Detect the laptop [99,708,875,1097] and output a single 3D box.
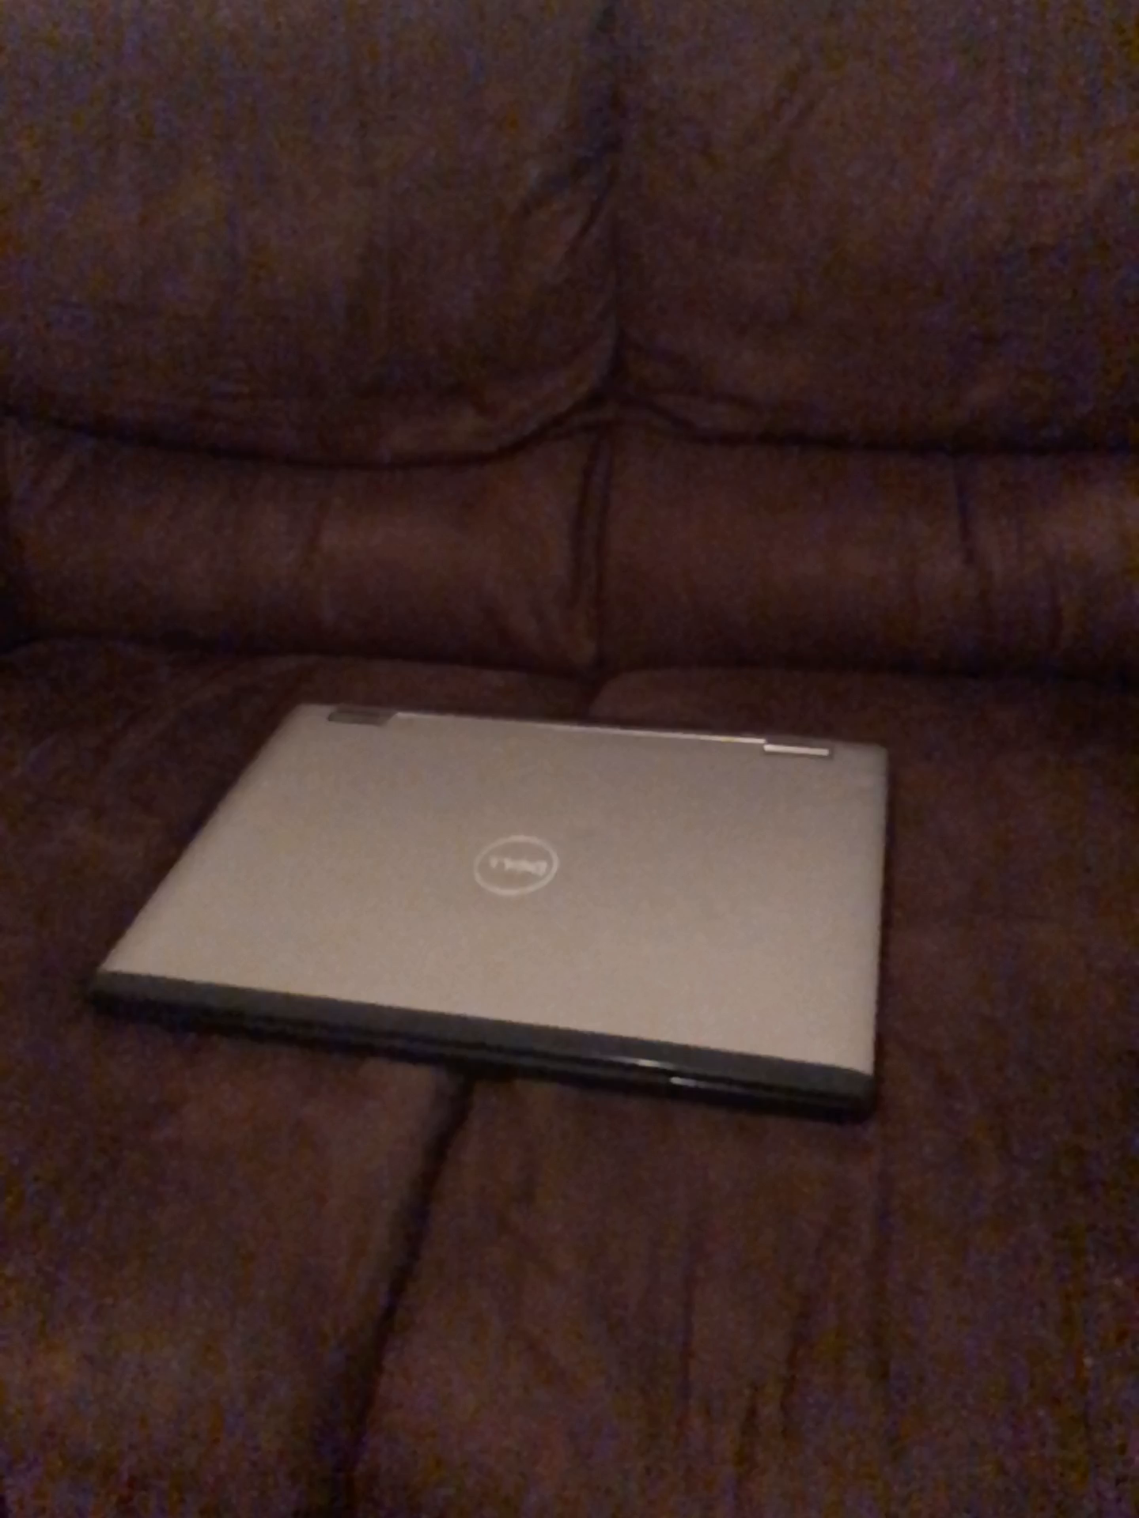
[{"bbox_3d":[-0.025,0.056,0.677,0.369,0.002,0.261,5,36,12],"label":"laptop"}]
